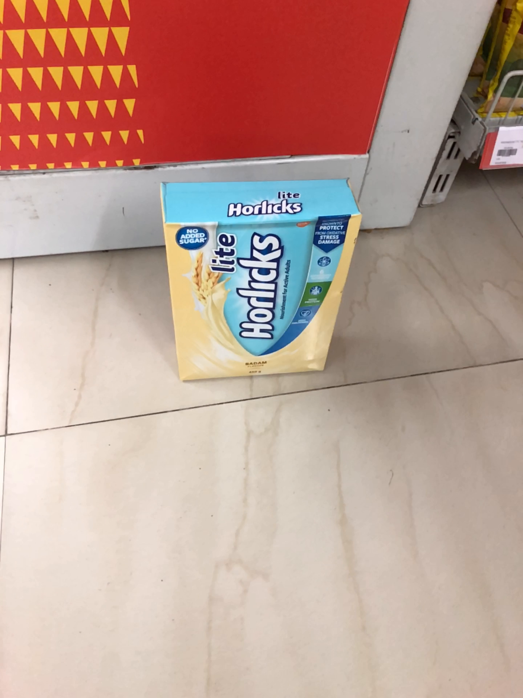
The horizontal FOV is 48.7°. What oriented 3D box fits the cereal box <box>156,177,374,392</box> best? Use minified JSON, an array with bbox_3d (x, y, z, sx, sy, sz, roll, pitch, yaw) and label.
[{"bbox_3d":[-0.004,-0.046,0.484,0.150,0.189,0.050,-4,50,-8],"label":"cereal box"}]
